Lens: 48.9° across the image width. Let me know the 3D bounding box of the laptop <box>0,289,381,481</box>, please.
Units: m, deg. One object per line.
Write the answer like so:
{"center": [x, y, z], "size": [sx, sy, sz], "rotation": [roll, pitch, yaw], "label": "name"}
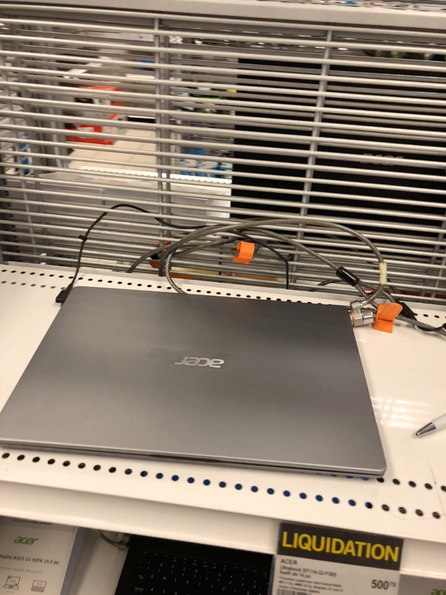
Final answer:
{"center": [-0.025, 0.068, 0.483], "size": [0.316, 0.006, 0.220], "rotation": [4, 35, 2], "label": "laptop"}
